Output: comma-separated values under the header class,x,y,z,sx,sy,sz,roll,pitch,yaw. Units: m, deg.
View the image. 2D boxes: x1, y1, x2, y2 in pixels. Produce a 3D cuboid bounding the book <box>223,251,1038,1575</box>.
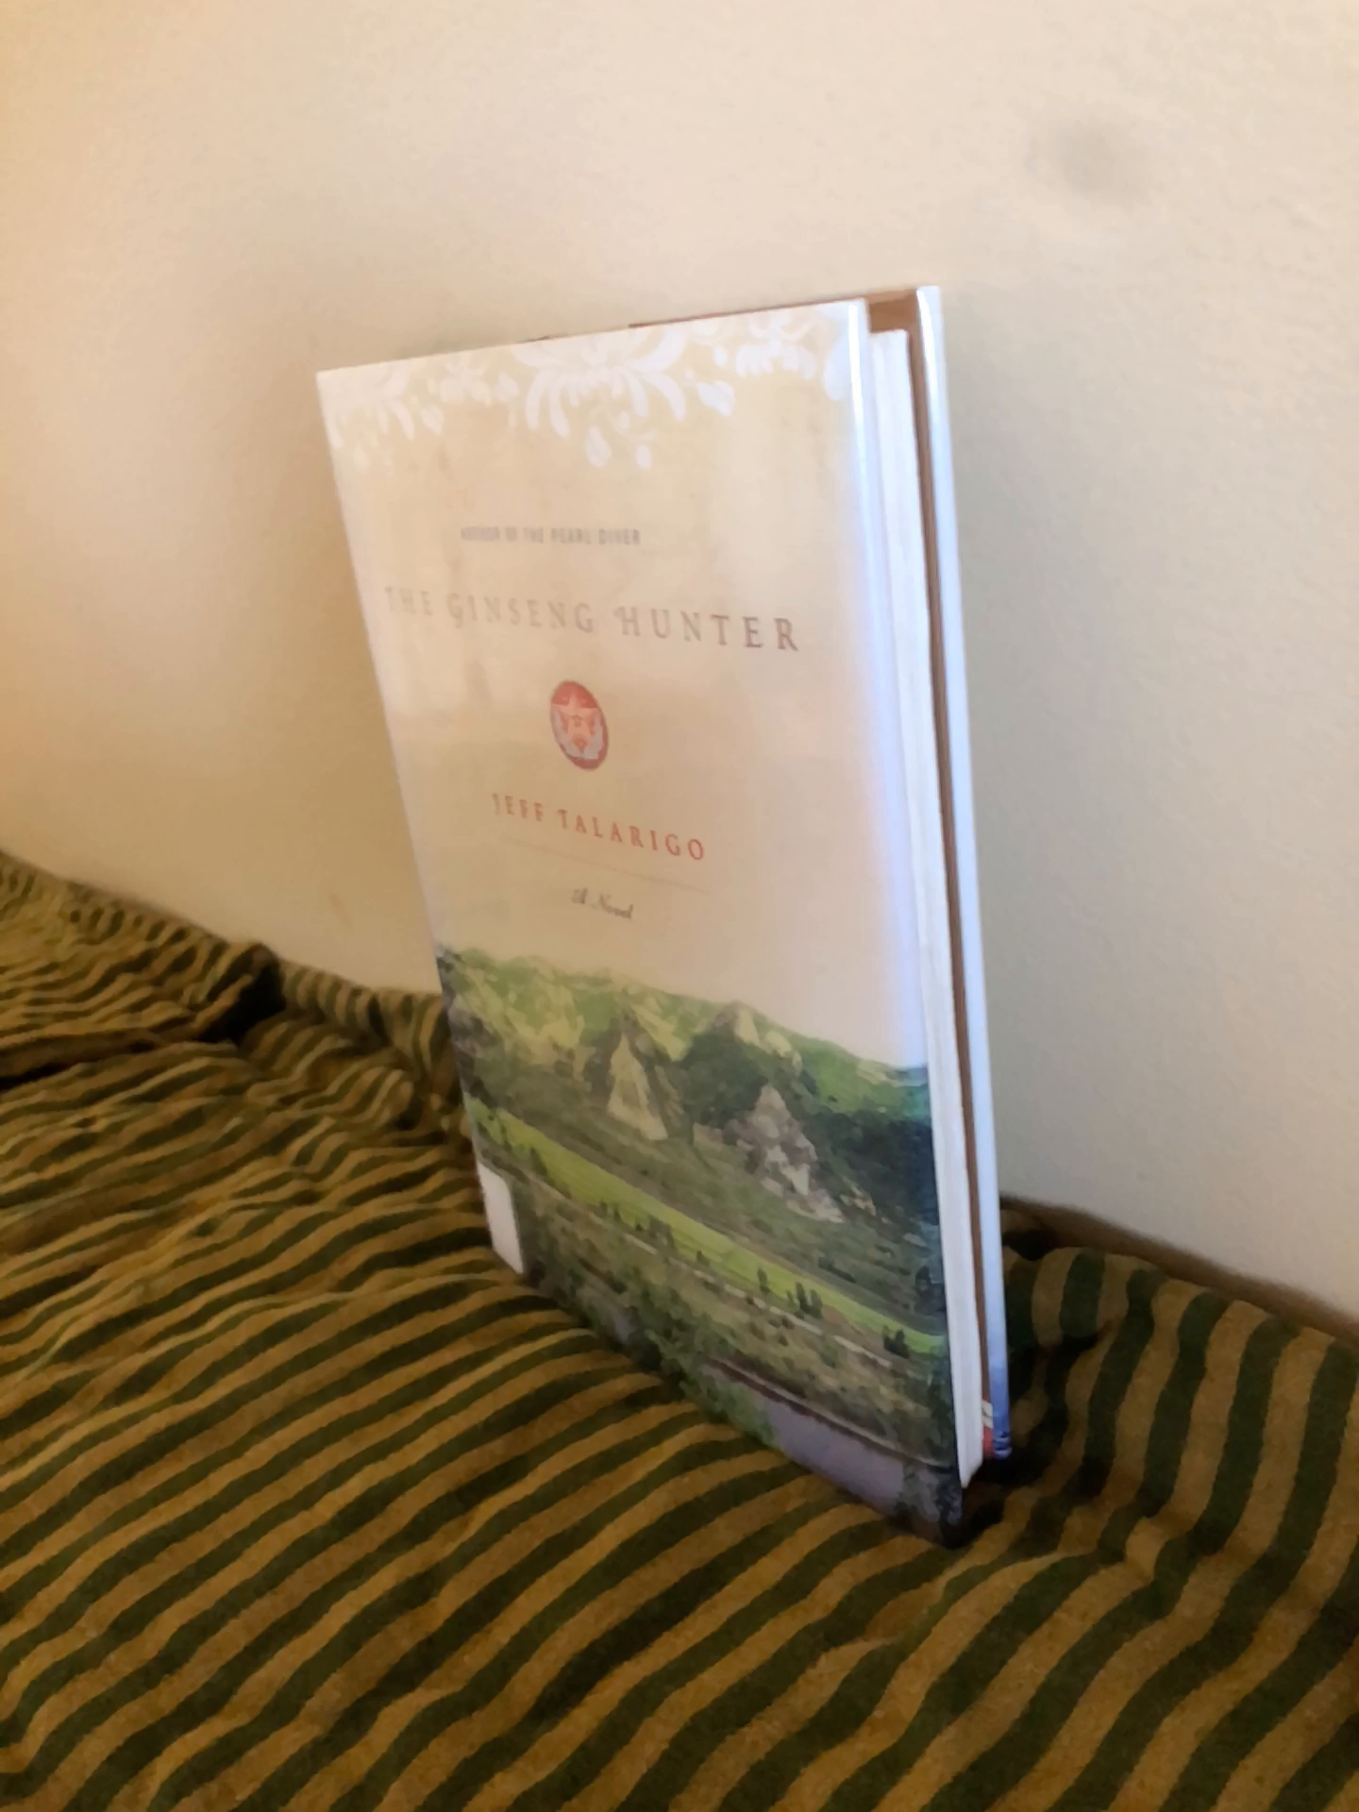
class,x,y,z,sx,sy,sz,roll,pitch,yaw
book,-0.008,0.001,0.269,0.029,0.203,0.138,-29,31,-36
